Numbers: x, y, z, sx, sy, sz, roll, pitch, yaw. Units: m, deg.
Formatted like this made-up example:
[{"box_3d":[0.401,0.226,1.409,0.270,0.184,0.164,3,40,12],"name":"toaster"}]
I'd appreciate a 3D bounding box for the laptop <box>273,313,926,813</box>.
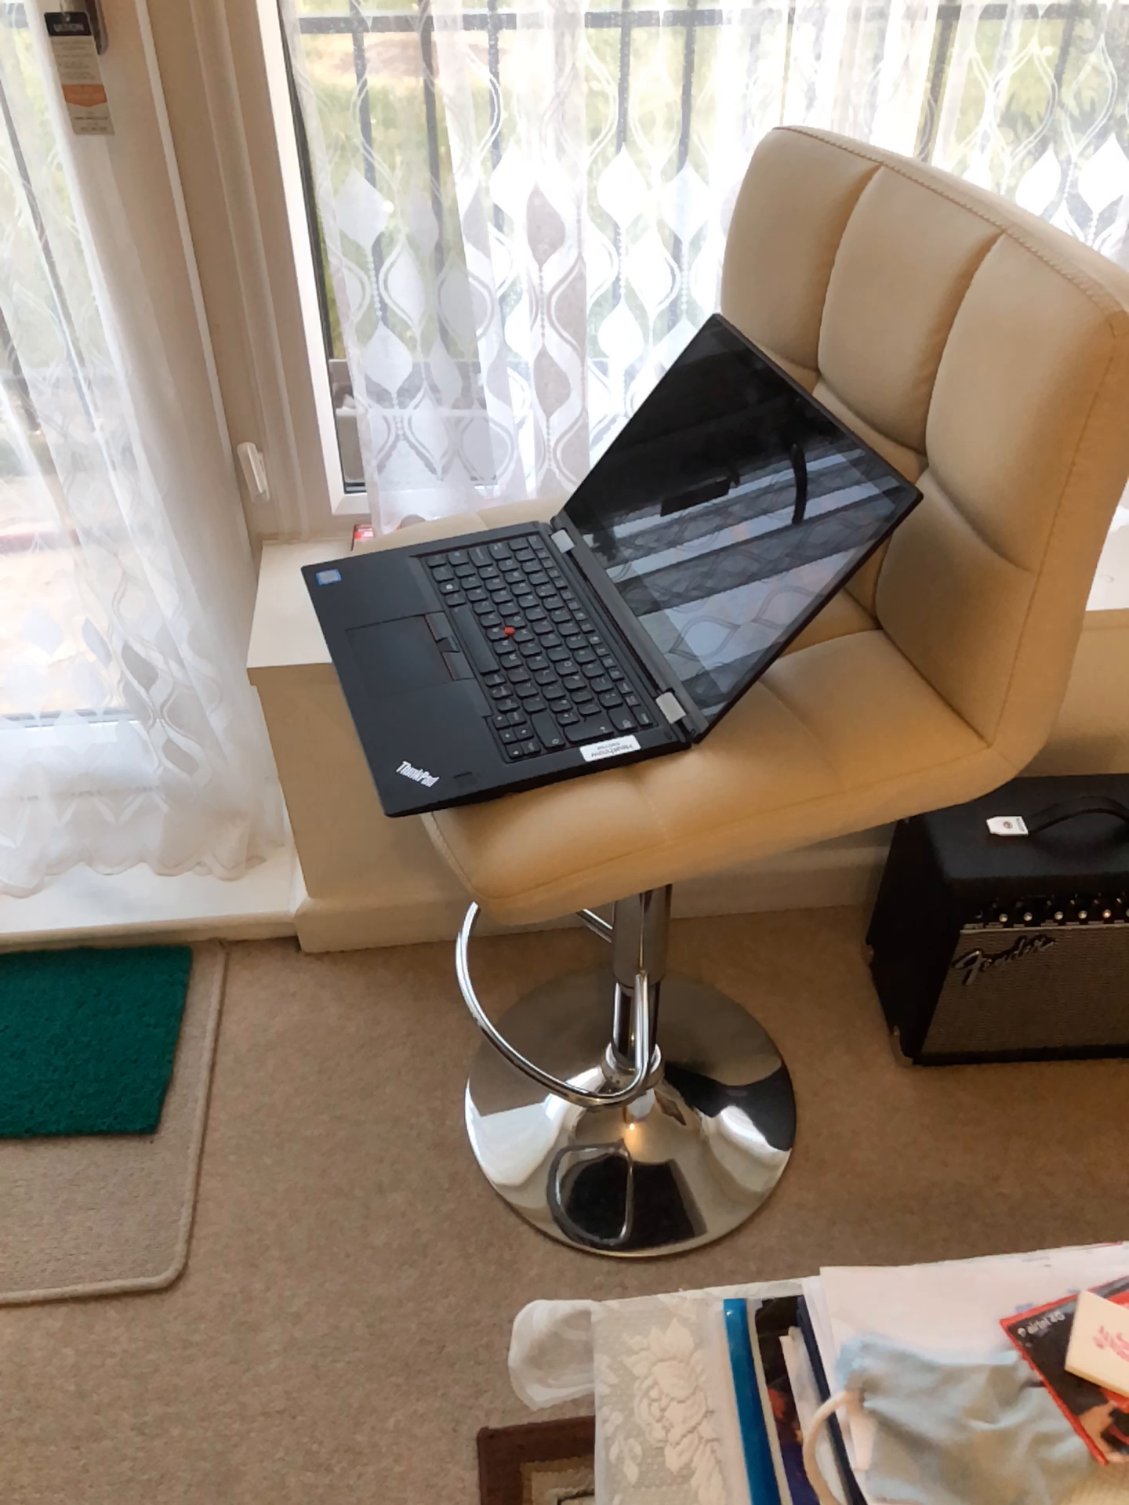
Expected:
[{"box_3d":[0.007,-0.160,0.911,0.366,0.165,0.310,-14,43,-14],"name":"laptop"}]
